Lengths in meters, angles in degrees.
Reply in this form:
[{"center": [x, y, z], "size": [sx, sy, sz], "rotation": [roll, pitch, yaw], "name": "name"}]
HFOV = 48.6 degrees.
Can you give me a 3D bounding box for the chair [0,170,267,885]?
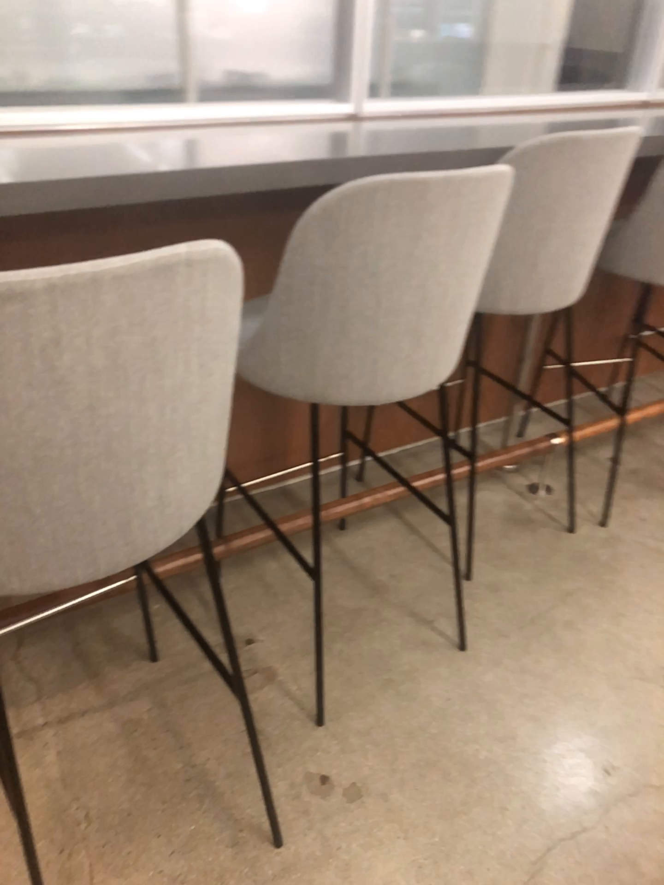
[{"center": [-0.614, 0.265, 1.636], "size": [0.714, 1.487, 0.622], "rotation": [-18, 37, -30], "name": "chair"}]
